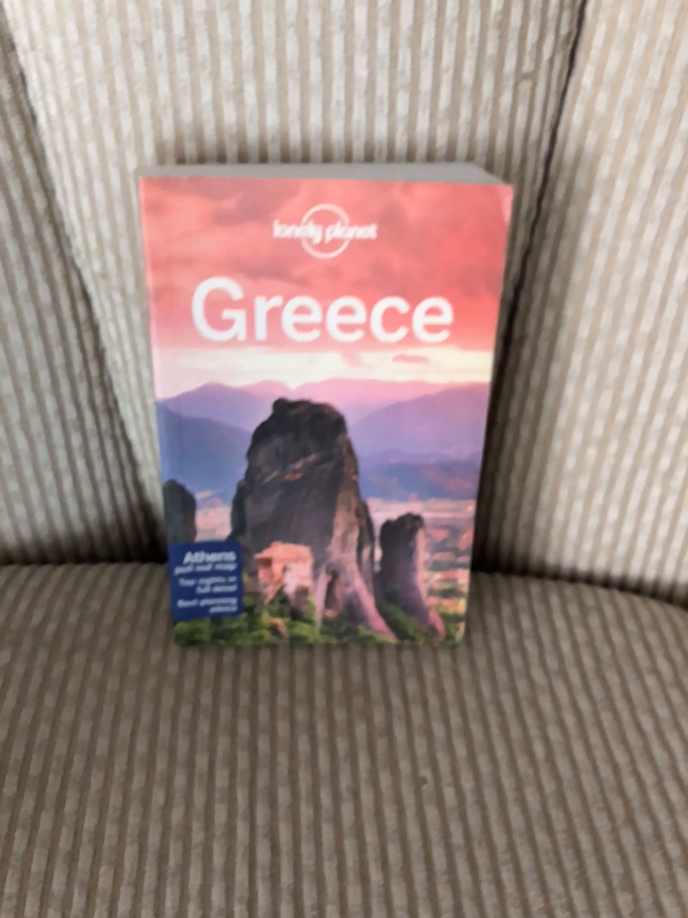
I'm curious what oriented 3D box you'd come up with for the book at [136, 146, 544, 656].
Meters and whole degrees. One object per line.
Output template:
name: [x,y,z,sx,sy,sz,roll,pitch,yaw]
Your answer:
book: [-0.003,-0.015,0.312,0.132,0.201,0.041,1,25,-1]
